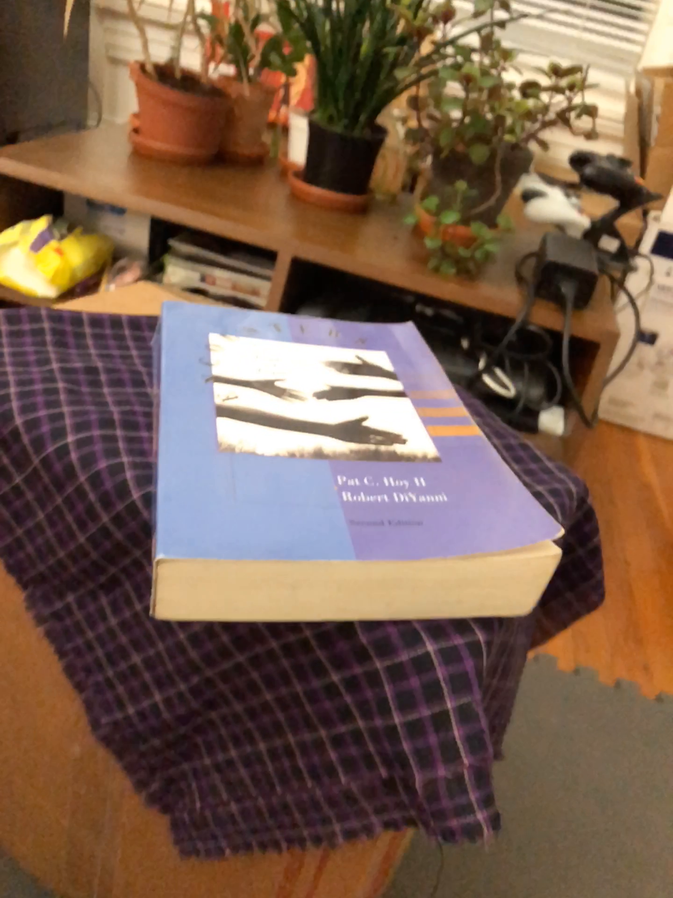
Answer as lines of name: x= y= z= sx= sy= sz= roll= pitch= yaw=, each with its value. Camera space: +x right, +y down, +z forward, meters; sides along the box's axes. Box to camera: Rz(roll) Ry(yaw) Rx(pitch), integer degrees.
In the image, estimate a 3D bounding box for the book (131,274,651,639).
book: x=0.002 y=-0.013 z=0.390 sx=0.200 sy=0.040 sz=0.261 roll=4 pitch=32 yaw=-16
